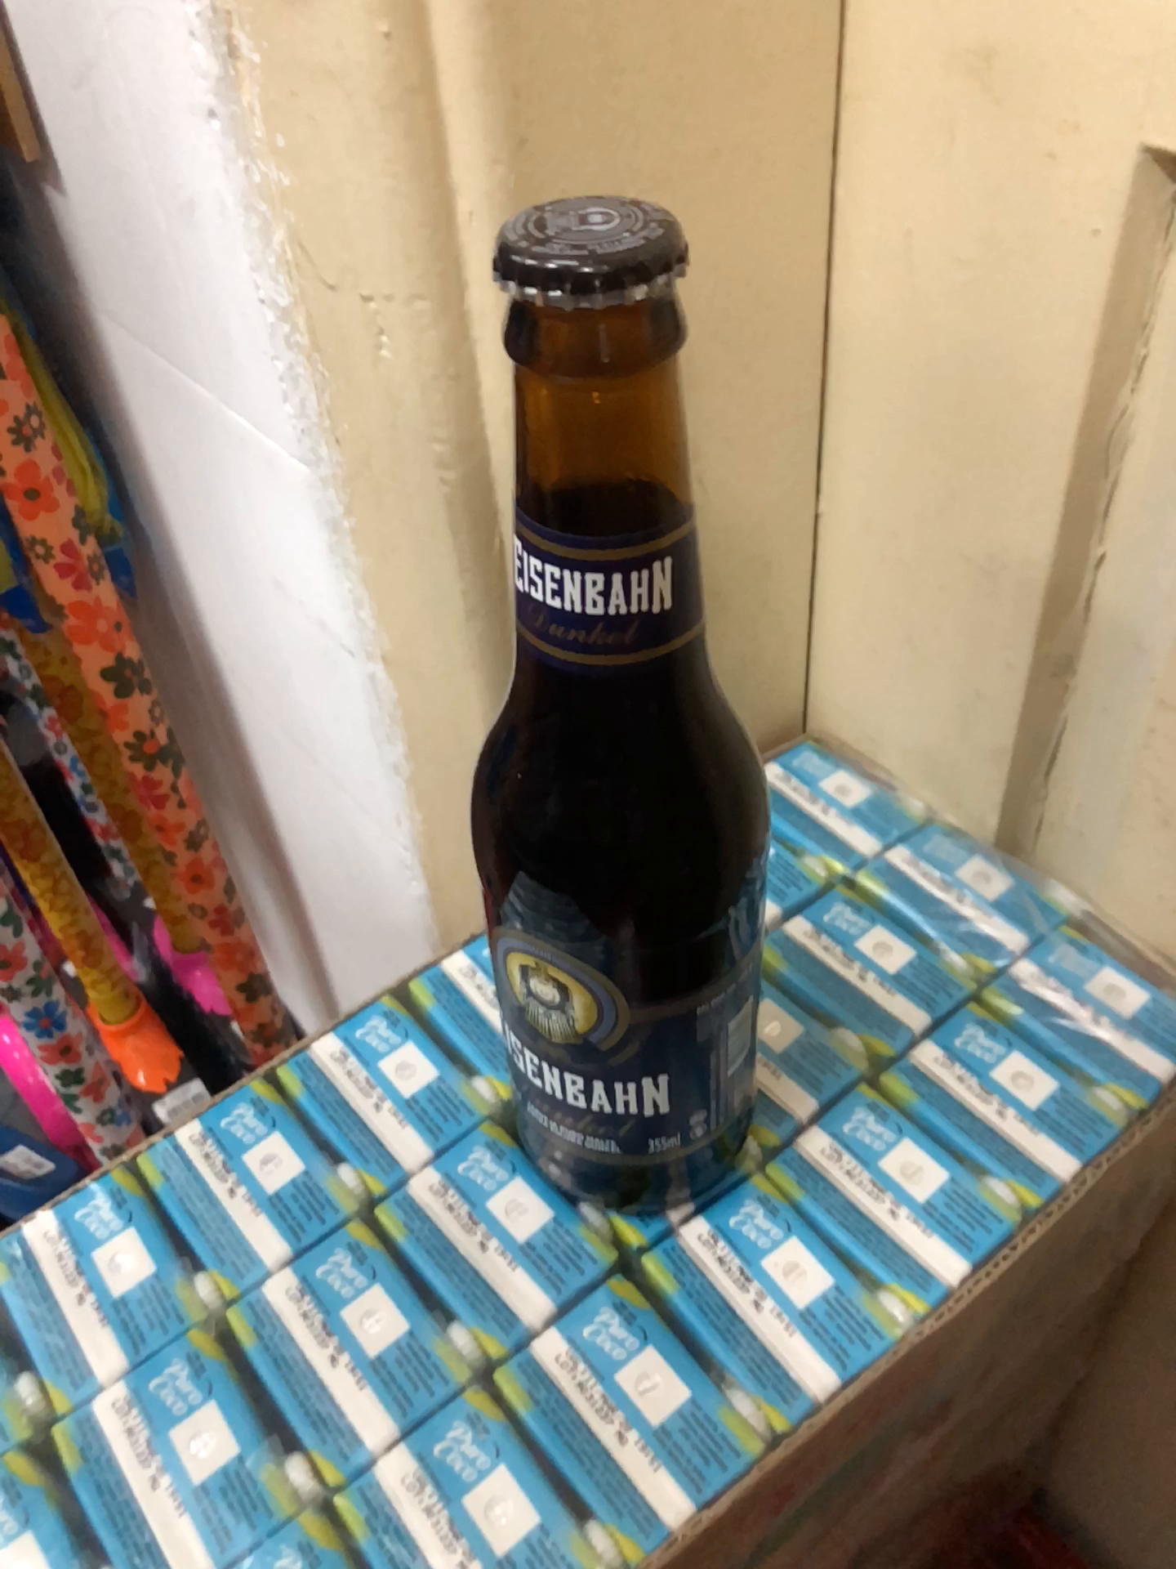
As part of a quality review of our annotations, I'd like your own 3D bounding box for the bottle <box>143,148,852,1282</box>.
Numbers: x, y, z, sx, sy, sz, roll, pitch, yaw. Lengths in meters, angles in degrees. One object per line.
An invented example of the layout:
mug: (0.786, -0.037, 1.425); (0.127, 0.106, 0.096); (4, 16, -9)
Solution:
bottle: (-0.004, 0.003, 0.238); (0.070, 0.198, 0.060); (22, 51, 26)
